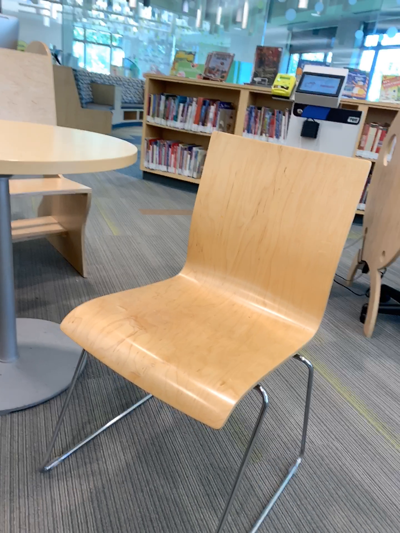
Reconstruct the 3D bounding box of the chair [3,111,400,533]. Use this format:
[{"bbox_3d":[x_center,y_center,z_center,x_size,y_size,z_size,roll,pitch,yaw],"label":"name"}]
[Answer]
[{"bbox_3d":[0.021,0.119,0.944,0.561,0.807,0.622,20,25,29],"label":"chair"}]
